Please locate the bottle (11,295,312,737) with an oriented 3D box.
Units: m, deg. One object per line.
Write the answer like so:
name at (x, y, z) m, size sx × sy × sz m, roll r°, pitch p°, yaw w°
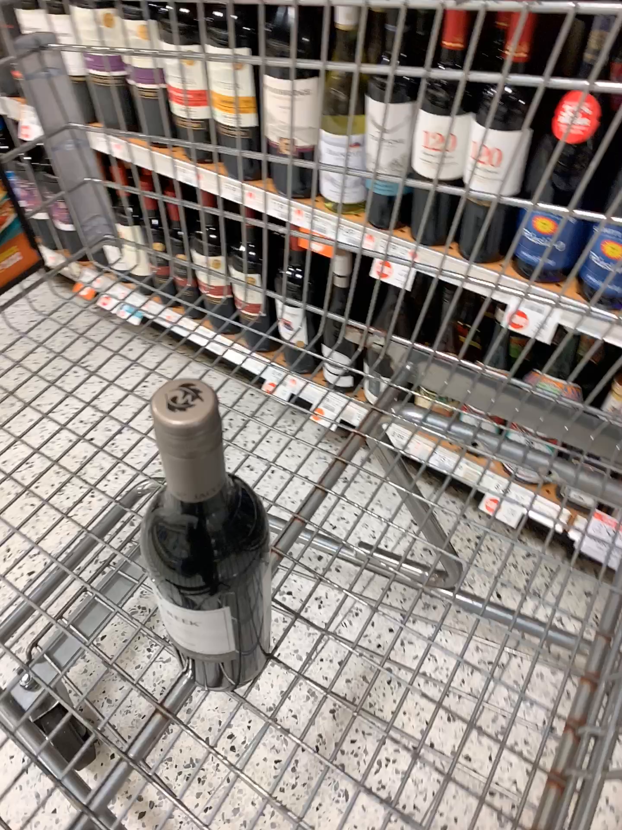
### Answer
bottle at (-0.063, 0.091, 0.391) m, size 0.090 × 0.317 × 0.091 m, roll 0°, pitch 51°, yaw 0°
